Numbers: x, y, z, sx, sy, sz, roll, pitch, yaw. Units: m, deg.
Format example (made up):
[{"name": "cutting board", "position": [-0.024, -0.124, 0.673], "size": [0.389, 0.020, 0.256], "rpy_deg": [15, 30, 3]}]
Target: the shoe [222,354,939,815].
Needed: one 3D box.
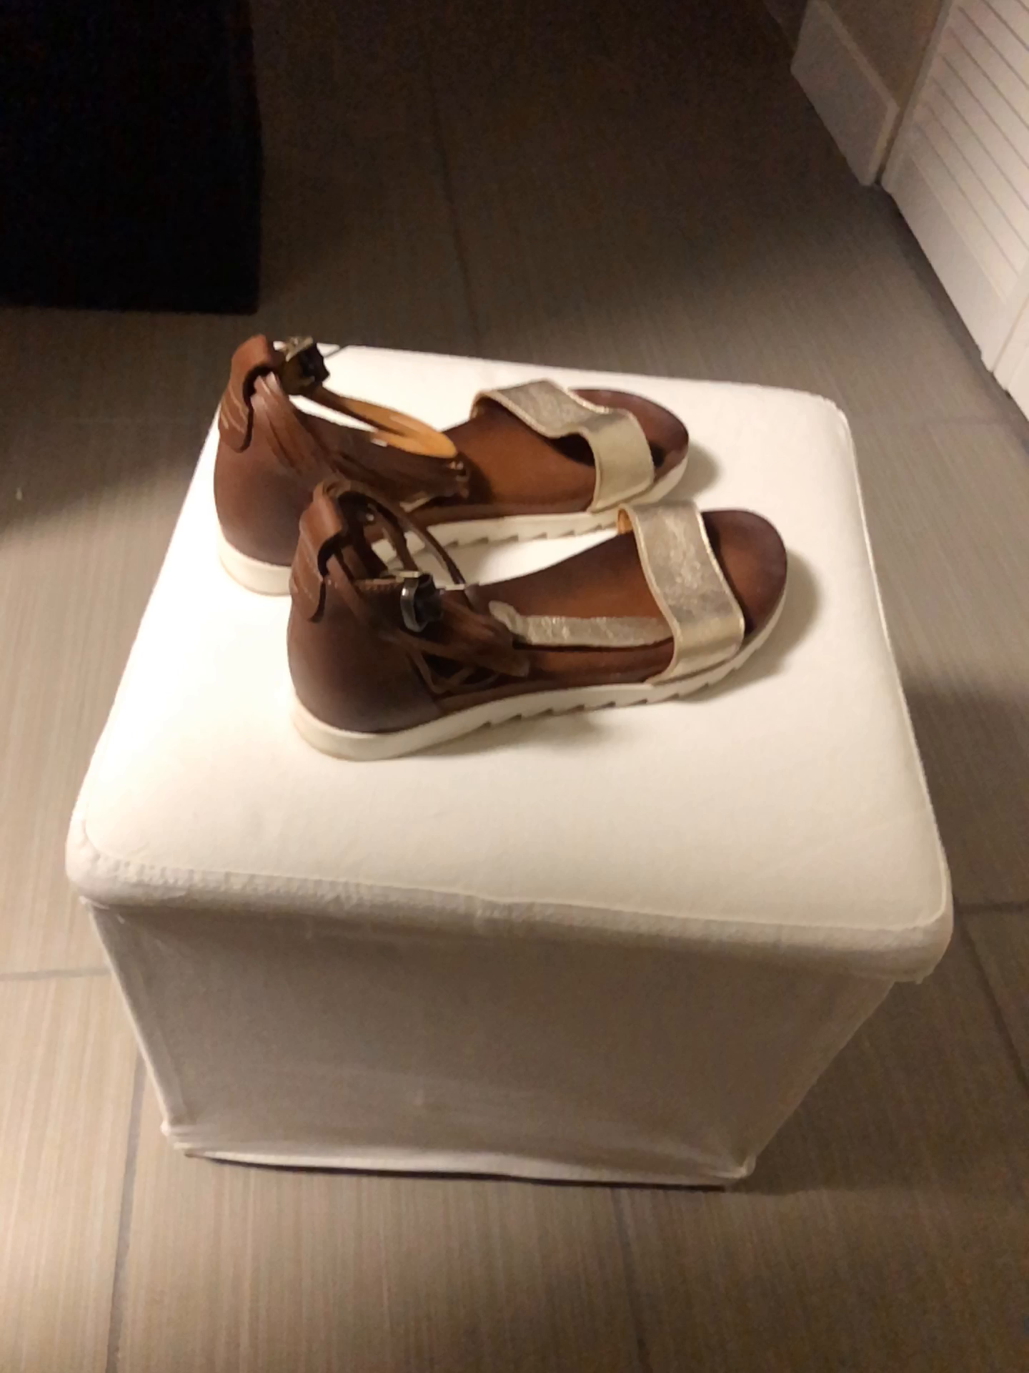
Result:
[{"name": "shoe", "position": [0.025, -0.050, 0.480], "size": [0.260, 0.090, 0.110], "rpy_deg": [-15, 54, -19]}]

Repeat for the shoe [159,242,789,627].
[{"name": "shoe", "position": [-0.020, -0.127, 0.545], "size": [0.260, 0.090, 0.110], "rpy_deg": [-15, 54, -19]}]
